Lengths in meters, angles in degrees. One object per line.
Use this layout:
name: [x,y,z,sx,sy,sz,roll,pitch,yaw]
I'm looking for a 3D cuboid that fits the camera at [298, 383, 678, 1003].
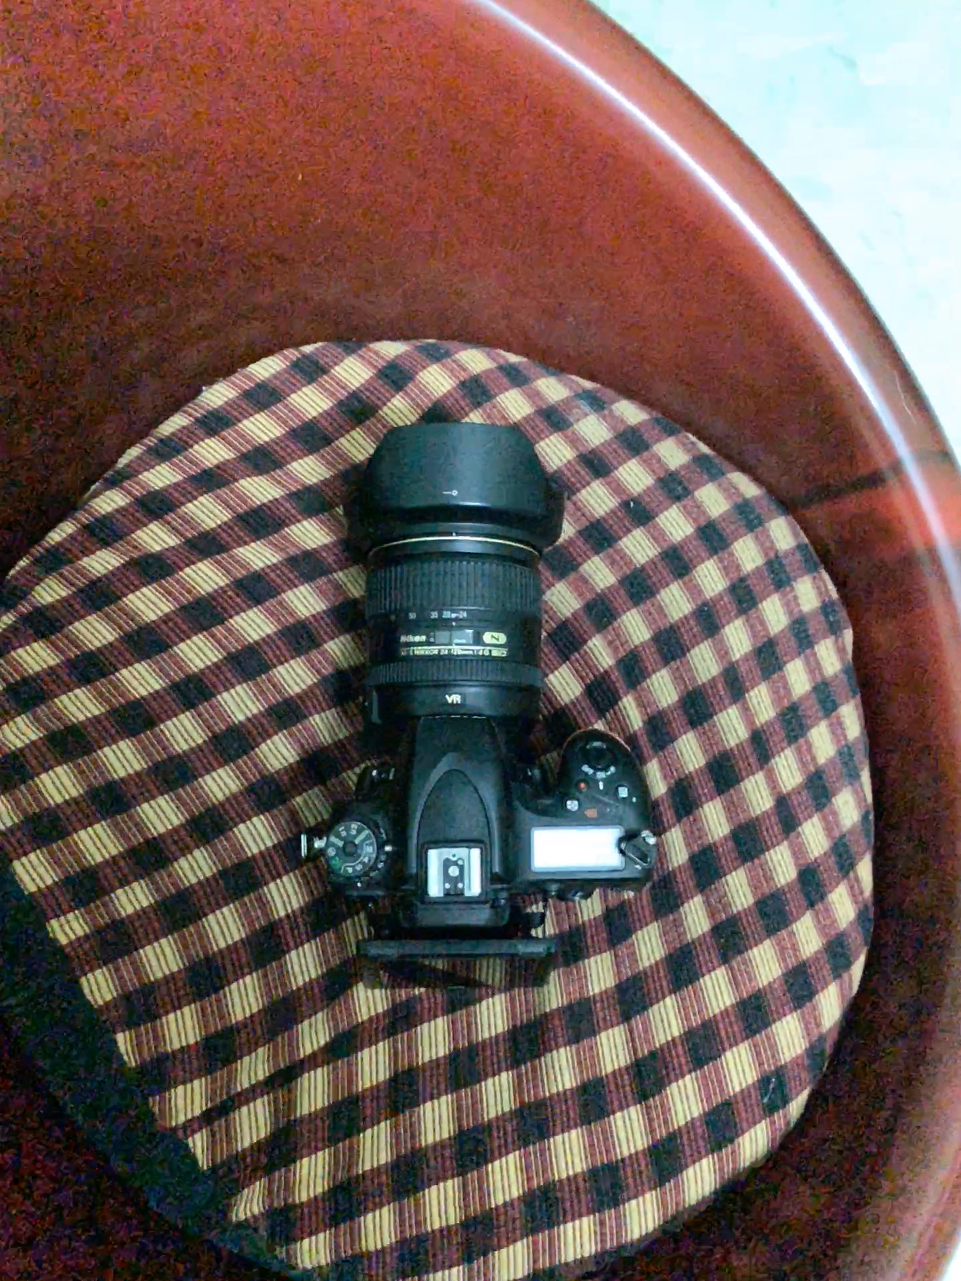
camera: [0.003,0.024,0.440,0.140,0.102,0.250,0,77,0]
